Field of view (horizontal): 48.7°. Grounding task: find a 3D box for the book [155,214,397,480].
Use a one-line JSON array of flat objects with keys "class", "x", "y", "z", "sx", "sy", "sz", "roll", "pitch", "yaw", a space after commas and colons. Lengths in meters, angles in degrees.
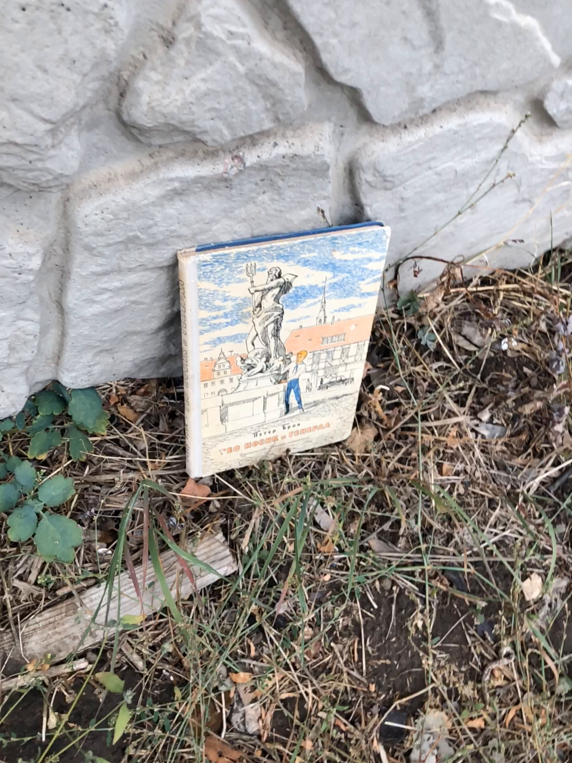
[{"class": "book", "x": -0.006, "y": -0.016, "z": 0.459, "sx": 0.151, "sy": 0.200, "sz": 0.020, "roll": -11, "pitch": 44, "yaw": -13}]
